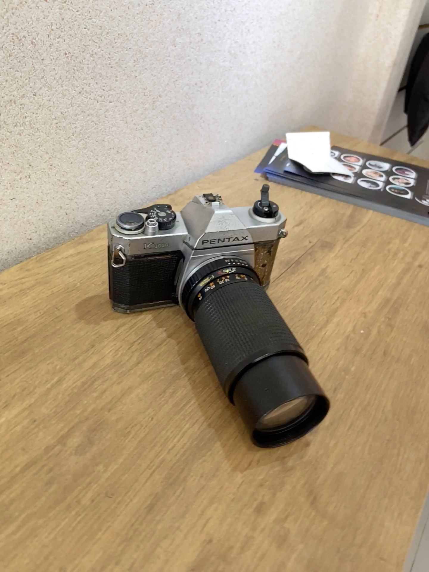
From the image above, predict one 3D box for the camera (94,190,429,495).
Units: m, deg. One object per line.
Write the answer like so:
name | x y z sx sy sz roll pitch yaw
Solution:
camera | 0.012 0.016 0.307 0.150 0.079 0.181 -10 40 -21
